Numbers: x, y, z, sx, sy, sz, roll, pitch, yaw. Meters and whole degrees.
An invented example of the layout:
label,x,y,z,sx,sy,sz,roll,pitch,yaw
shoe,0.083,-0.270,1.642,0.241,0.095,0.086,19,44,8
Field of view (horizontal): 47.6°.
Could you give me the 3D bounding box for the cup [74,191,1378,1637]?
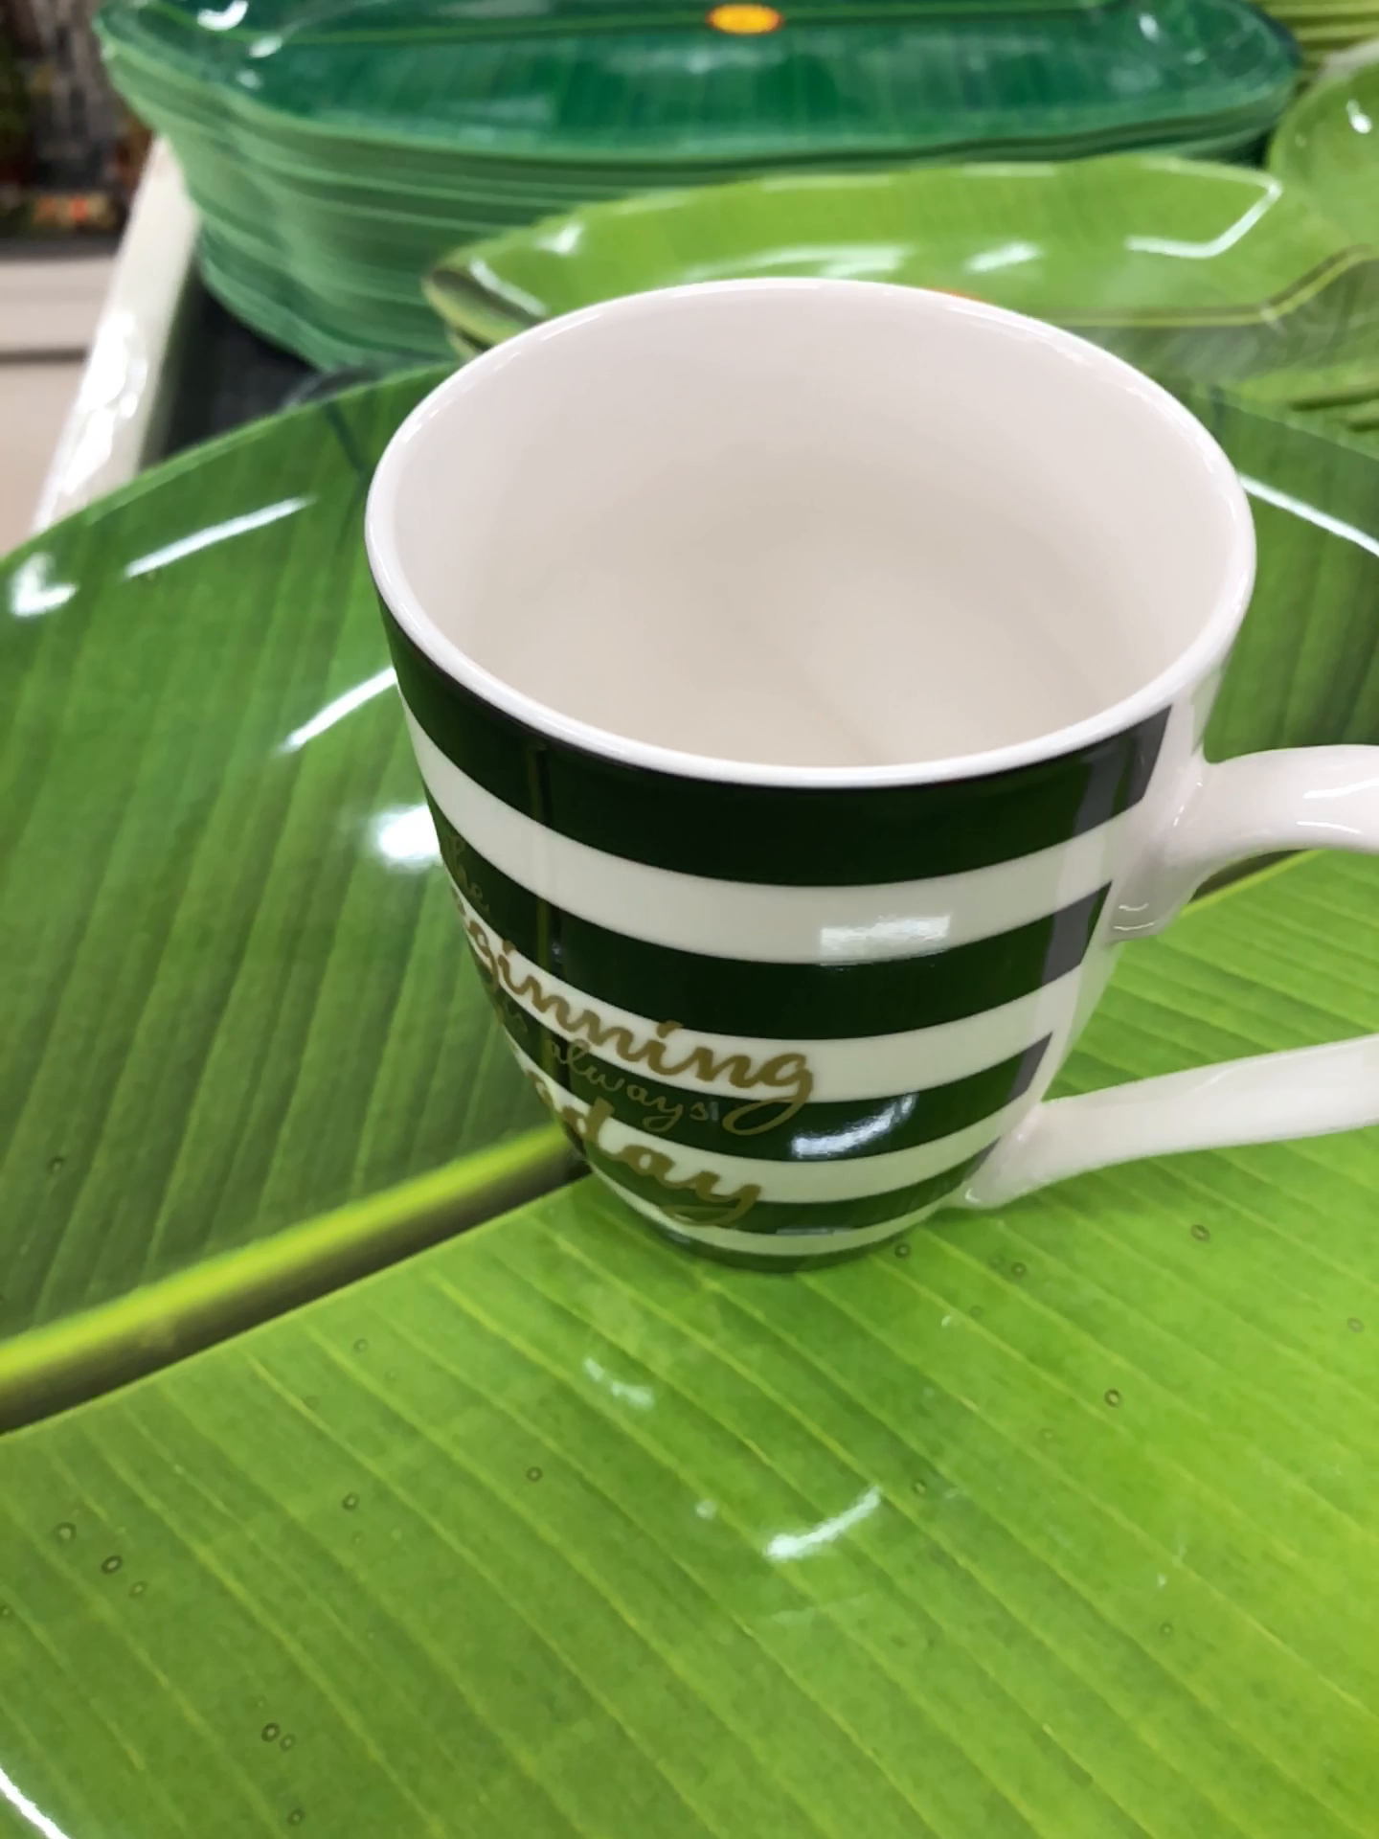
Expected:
label,x,y,z,sx,sy,sz,roll,pitch,yaw
cup,0.025,-0.009,0.161,0.130,0.079,0.081,20,49,18
